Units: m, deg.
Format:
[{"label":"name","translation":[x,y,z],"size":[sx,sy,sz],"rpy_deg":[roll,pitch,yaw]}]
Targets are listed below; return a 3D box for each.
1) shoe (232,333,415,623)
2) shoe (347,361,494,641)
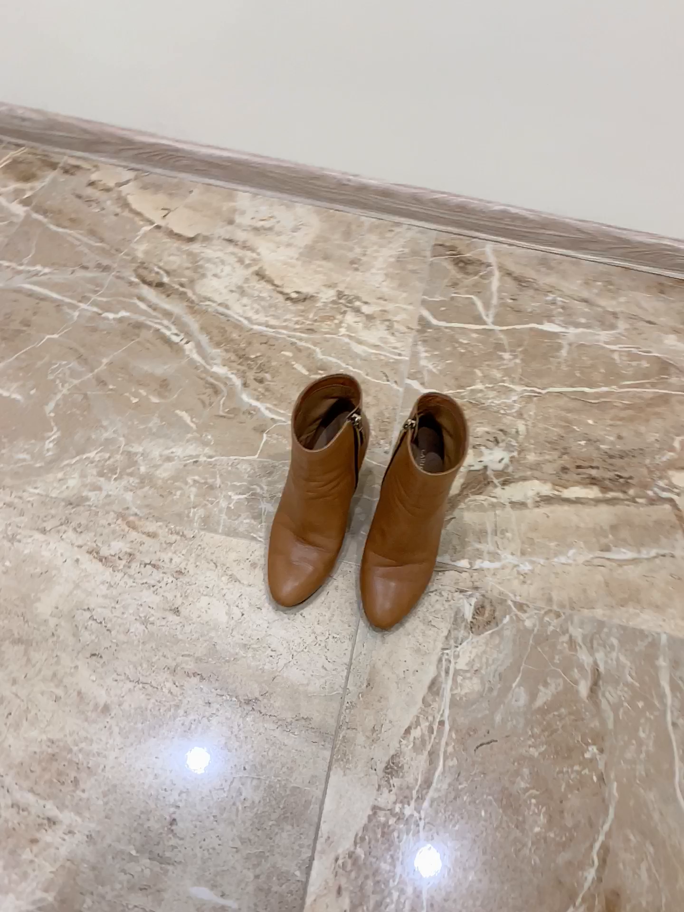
[{"label":"shoe","translation":[-0.018,0.026,0.720],"size":[0.090,0.185,0.221],"rpy_deg":[21,58,8]},{"label":"shoe","translation":[0.077,0.049,0.705],"size":[0.090,0.175,0.211],"rpy_deg":[12,58,2]}]
